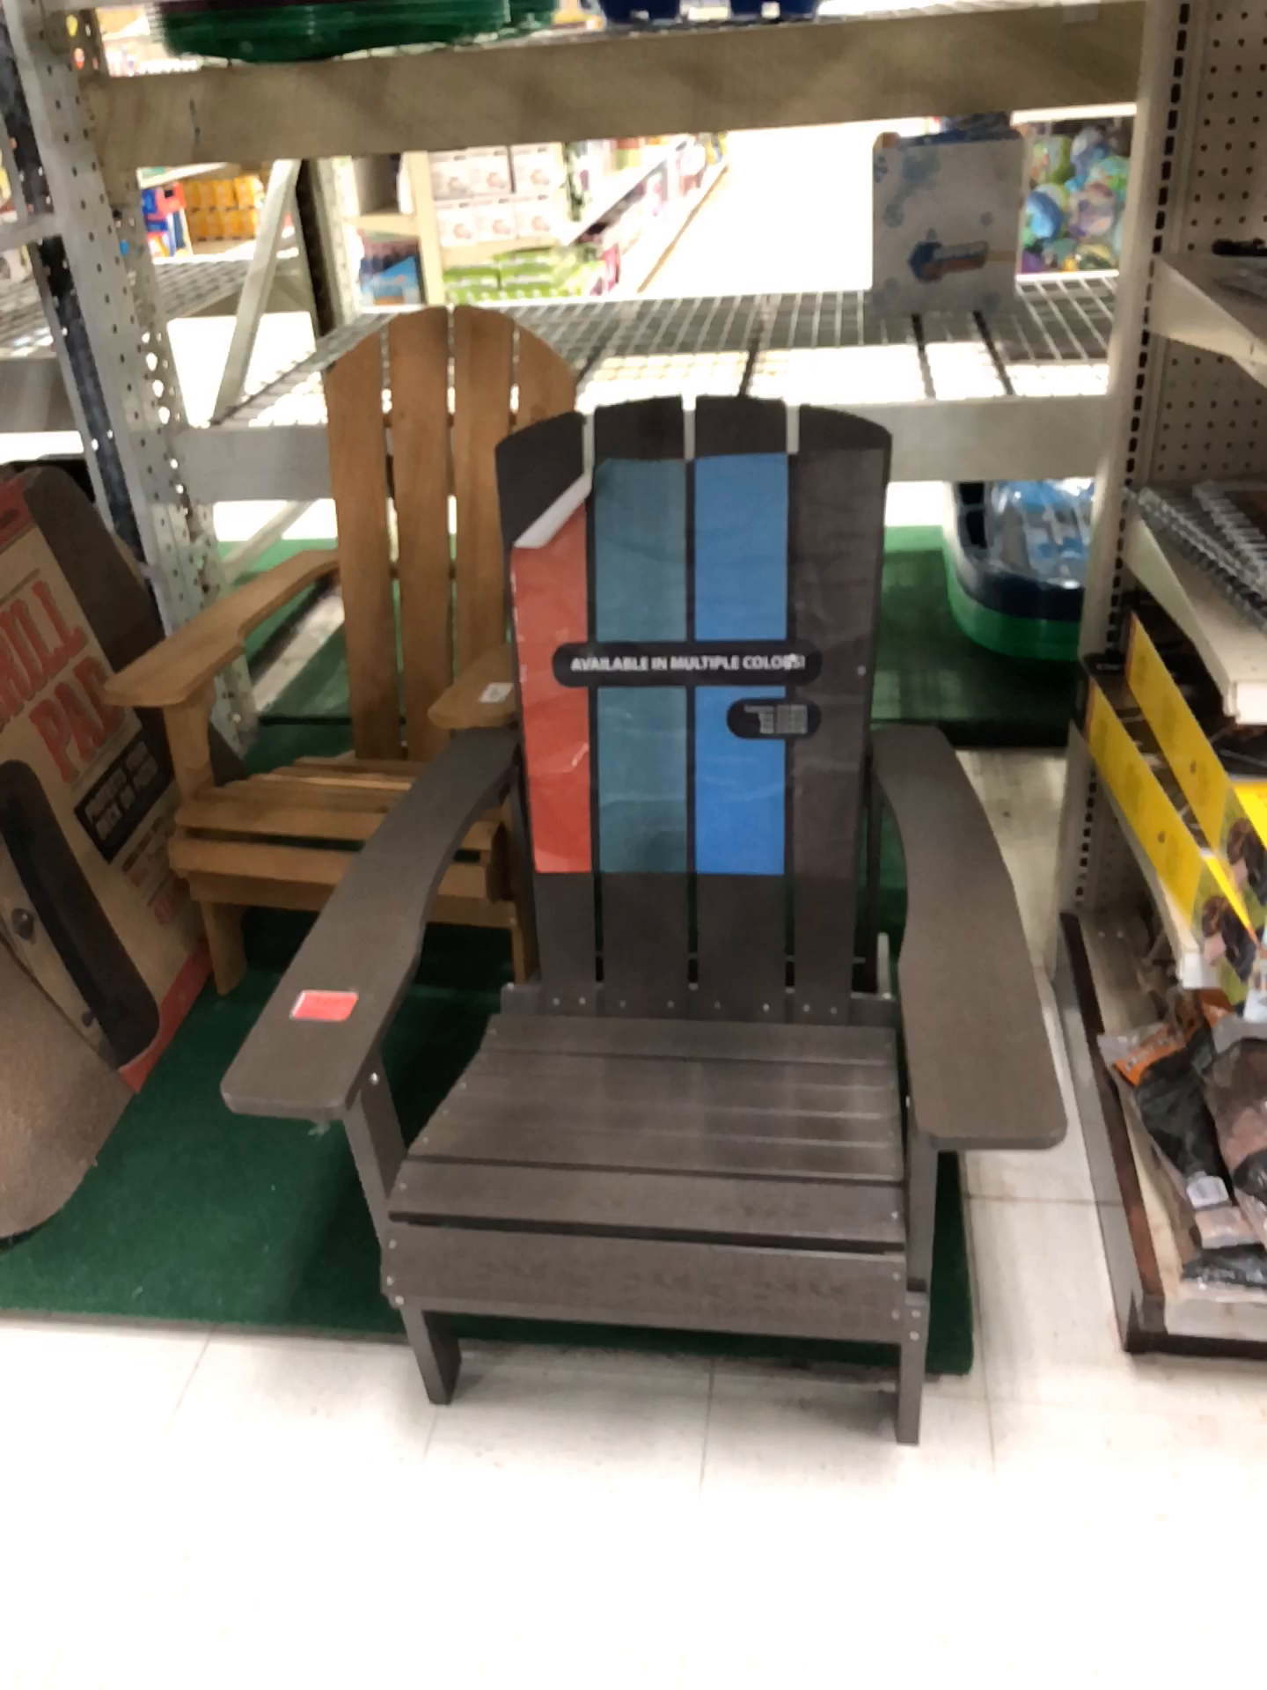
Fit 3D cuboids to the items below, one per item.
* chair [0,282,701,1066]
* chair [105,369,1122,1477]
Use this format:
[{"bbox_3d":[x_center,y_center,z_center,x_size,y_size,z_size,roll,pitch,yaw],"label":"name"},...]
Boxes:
[{"bbox_3d":[-0.322,-0.333,2.196,0.637,0.846,0.980,4,32,14],"label":"chair"},{"bbox_3d":[0.058,0.010,1.570,0.717,0.816,0.920,1,32,9],"label":"chair"}]
